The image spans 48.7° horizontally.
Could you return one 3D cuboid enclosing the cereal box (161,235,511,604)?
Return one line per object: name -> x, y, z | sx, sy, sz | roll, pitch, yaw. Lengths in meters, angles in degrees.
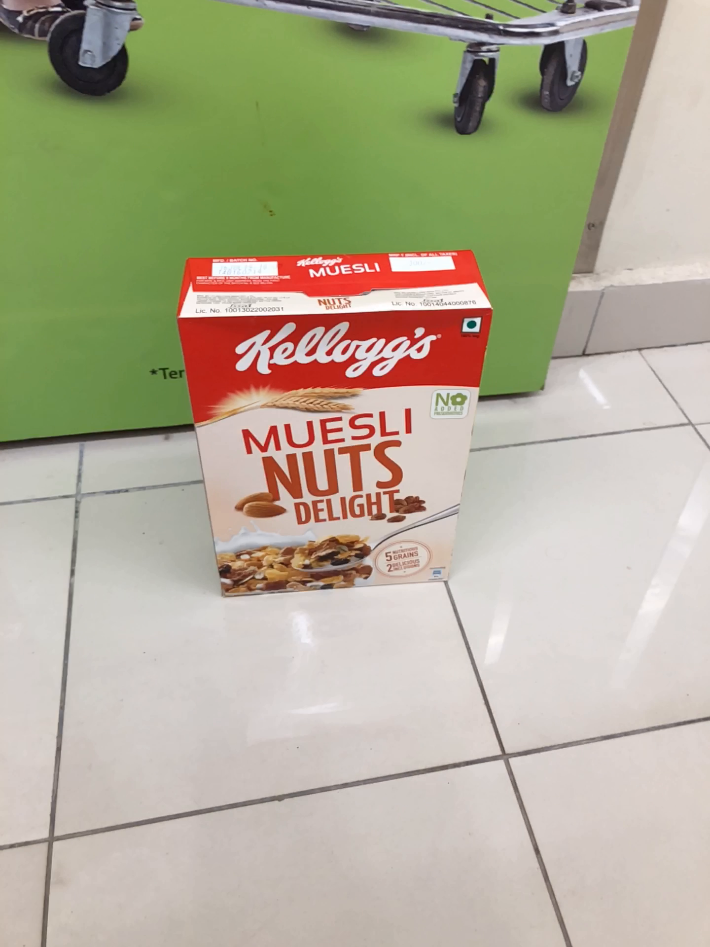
cereal box -> -0.017, -0.027, 0.568 | 0.200, 0.268, 0.080 | -3, 44, -6
